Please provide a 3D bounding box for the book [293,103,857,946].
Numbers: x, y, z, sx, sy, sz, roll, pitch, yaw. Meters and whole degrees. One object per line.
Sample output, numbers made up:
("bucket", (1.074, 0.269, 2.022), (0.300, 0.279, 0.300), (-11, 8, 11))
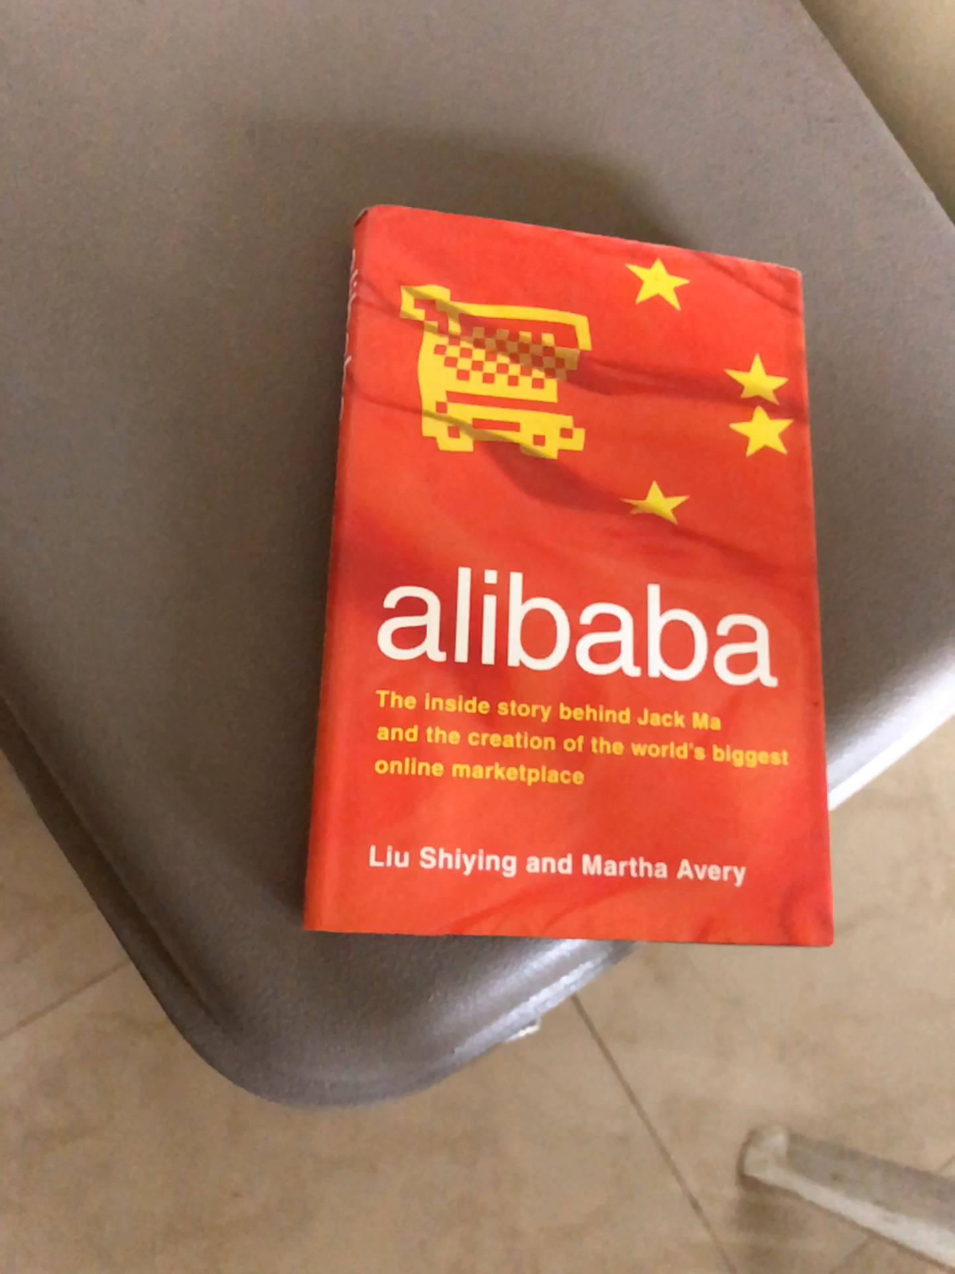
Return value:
("book", (0.030, -0.035, 0.347), (0.160, 0.040, 0.260), (5, 74, -15))
